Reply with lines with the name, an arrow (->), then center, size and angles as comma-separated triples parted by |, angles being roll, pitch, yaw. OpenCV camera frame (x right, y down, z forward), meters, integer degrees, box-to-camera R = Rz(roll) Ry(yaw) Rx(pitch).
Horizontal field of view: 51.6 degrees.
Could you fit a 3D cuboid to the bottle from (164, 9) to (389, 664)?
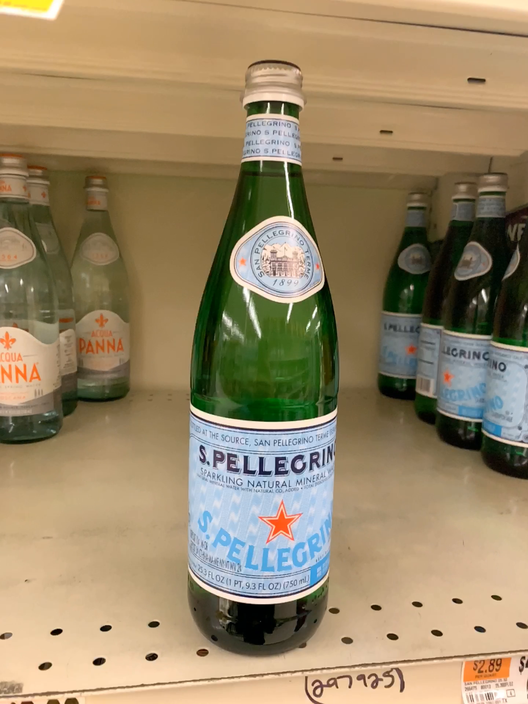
bottle -> -0.004, 0.001, 0.287 | 0.090, 0.289, 0.090 | 2, 11, 0
